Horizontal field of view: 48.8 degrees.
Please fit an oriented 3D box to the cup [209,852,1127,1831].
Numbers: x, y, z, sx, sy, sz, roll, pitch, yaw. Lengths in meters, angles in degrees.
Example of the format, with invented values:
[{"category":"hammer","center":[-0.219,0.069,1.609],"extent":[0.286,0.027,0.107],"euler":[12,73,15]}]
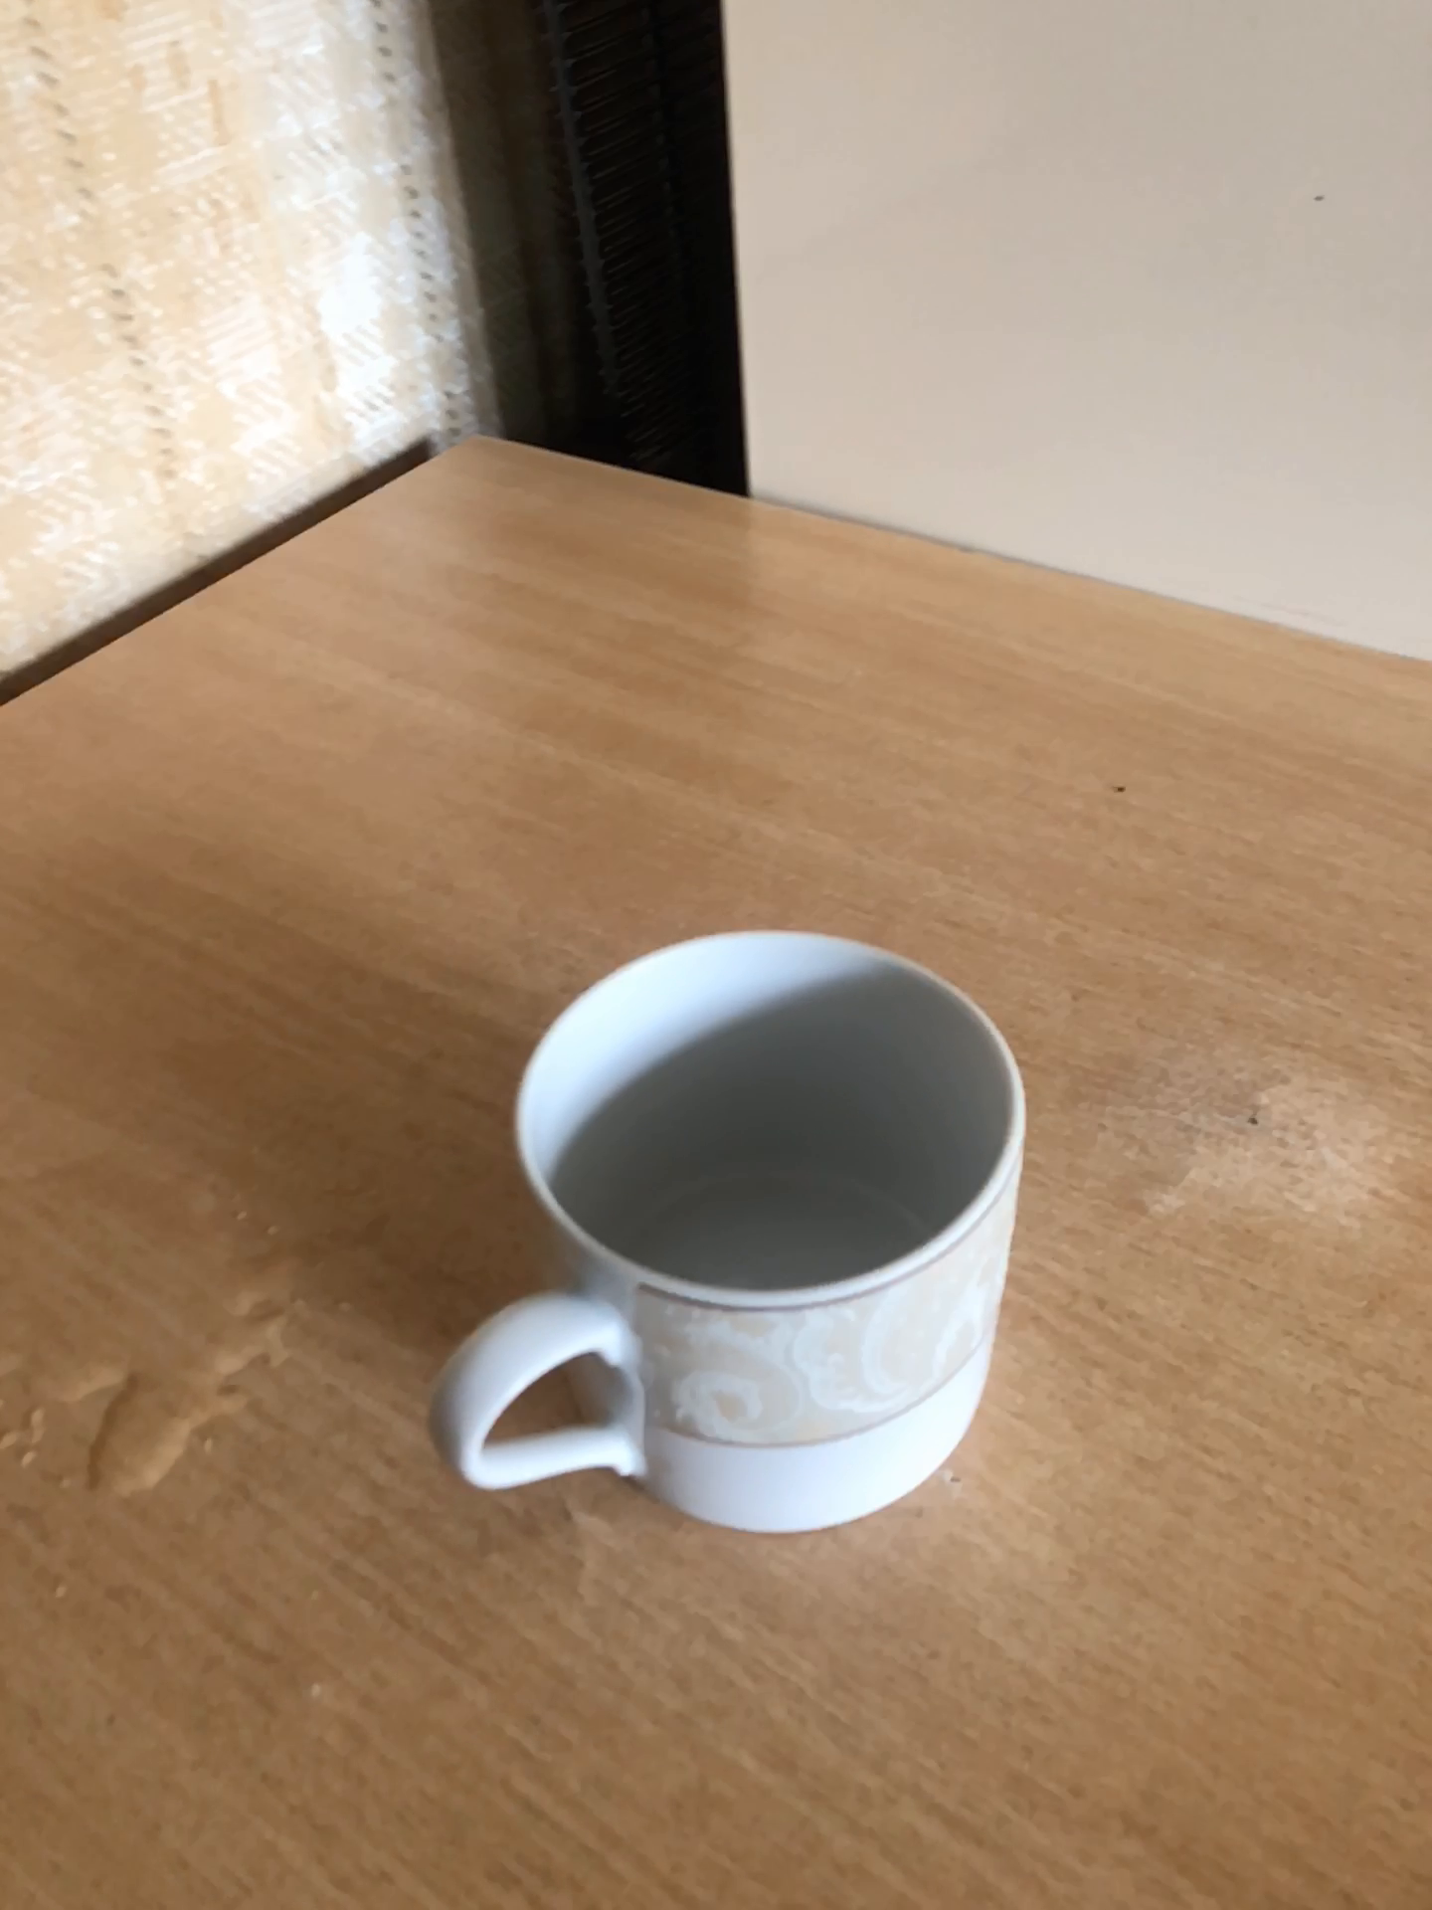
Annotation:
[{"category":"cup","center":[-0.003,0.051,0.241],"extent":[0.105,0.069,0.075],"euler":[-35,49,-30]}]
